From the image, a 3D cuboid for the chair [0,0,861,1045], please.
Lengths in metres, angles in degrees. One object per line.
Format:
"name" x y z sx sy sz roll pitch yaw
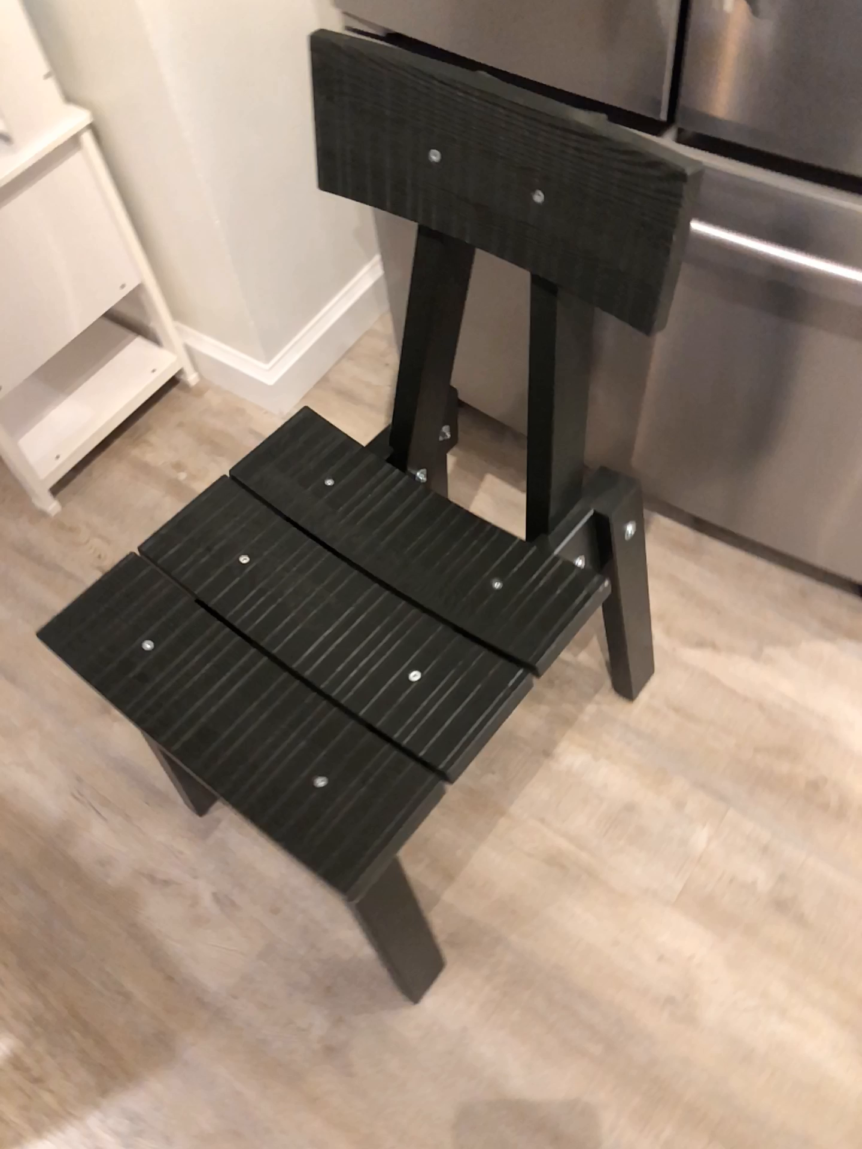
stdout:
"chair" -0.062 0.001 0.897 0.522 0.796 0.511 33 67 24
